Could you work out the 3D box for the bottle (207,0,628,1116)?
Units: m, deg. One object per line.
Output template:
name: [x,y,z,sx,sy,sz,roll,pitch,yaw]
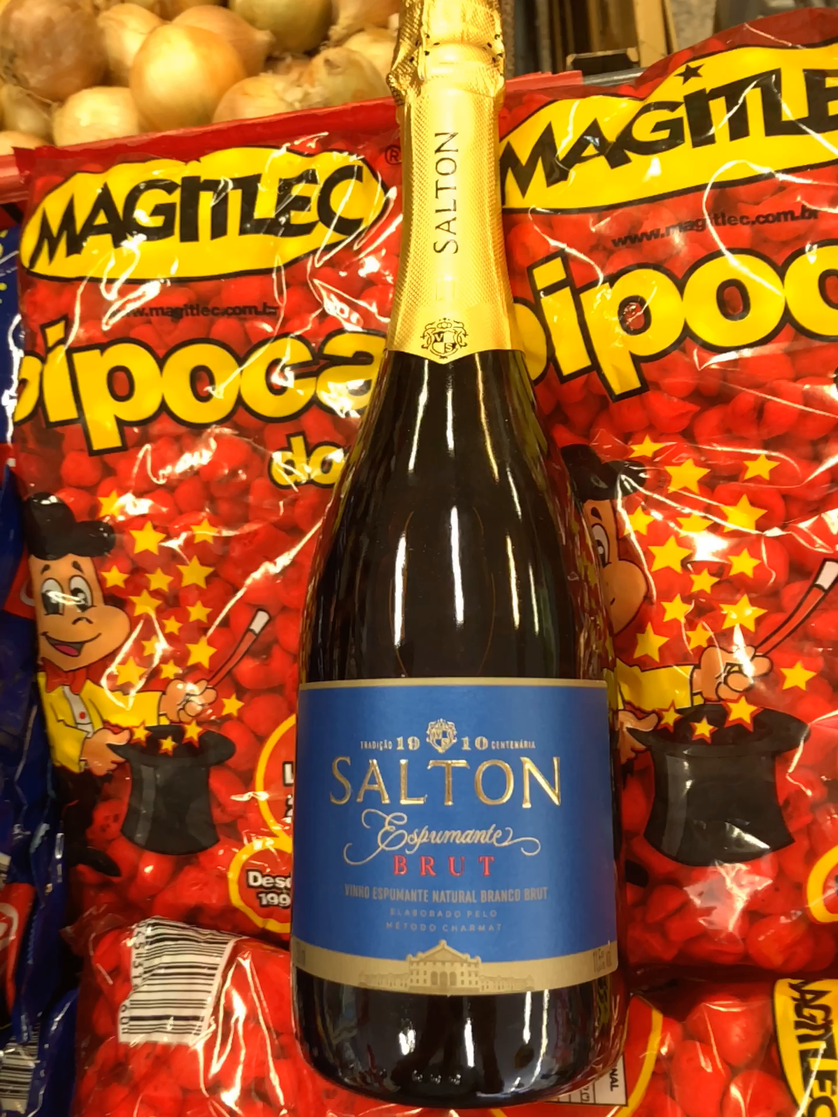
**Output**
bottle: [0.002,-0.026,0.255,0.090,0.080,0.310,-2,83,9]
